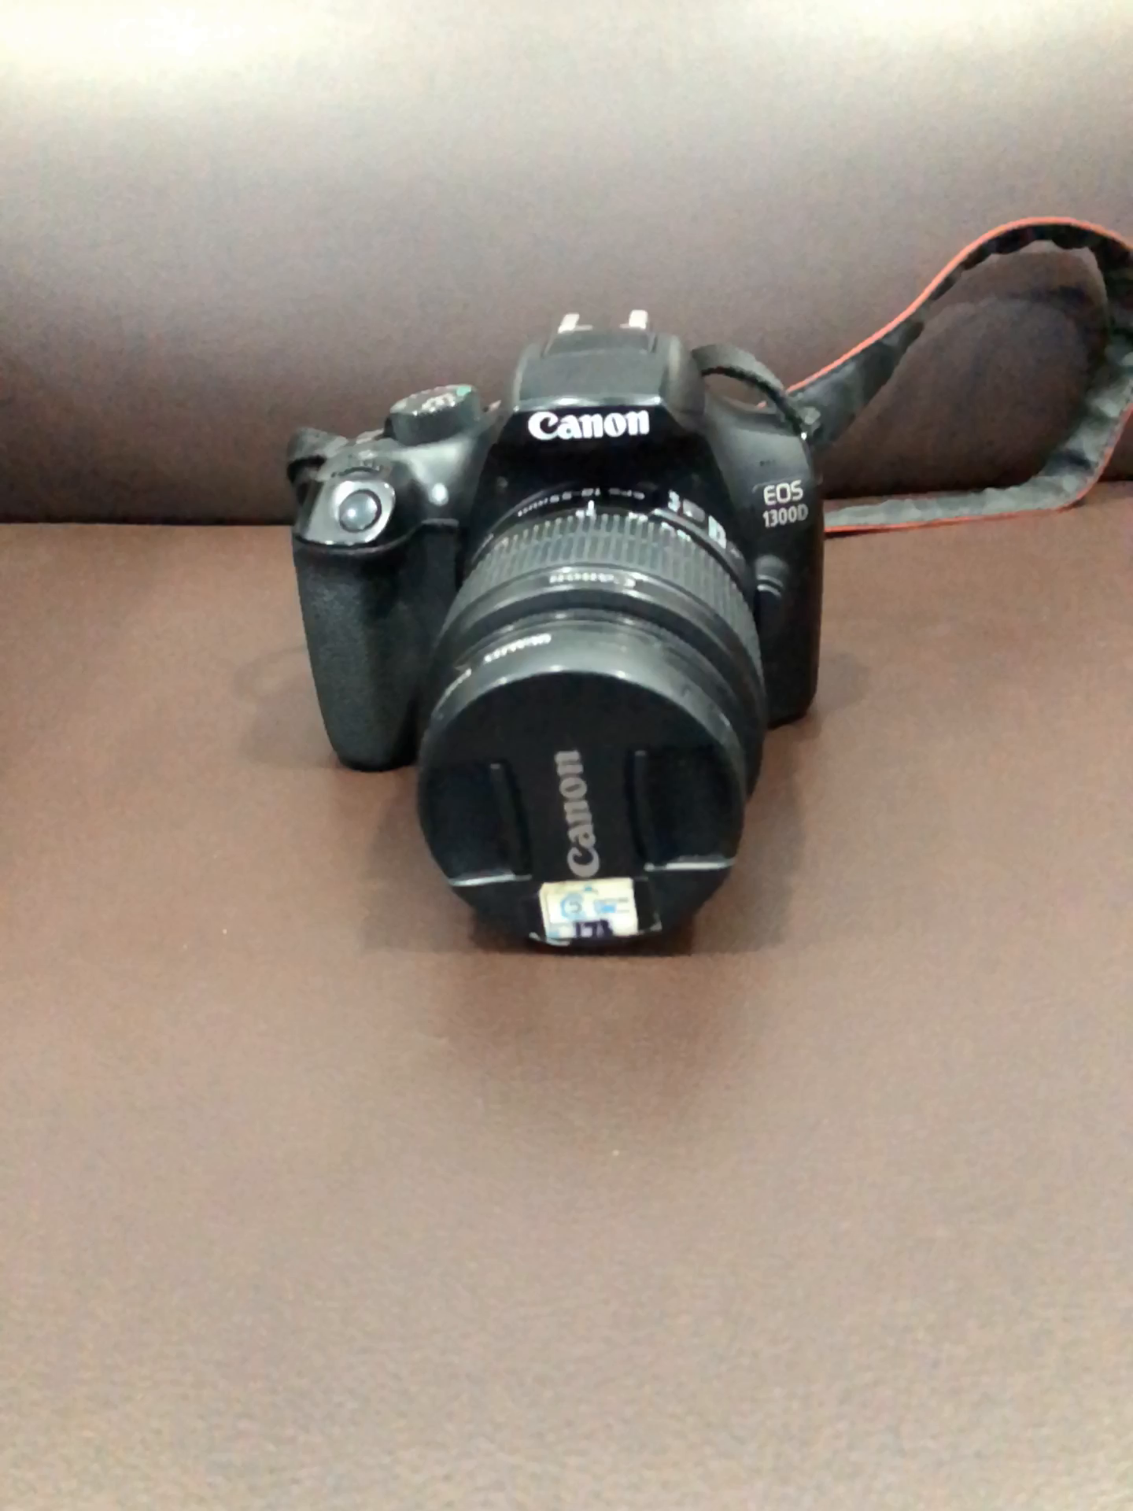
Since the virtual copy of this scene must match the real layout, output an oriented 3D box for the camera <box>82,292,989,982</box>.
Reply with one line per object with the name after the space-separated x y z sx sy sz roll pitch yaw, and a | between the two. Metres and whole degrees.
0.002 -0.041 0.274 0.130 0.089 0.171 0 27 5 | camera
